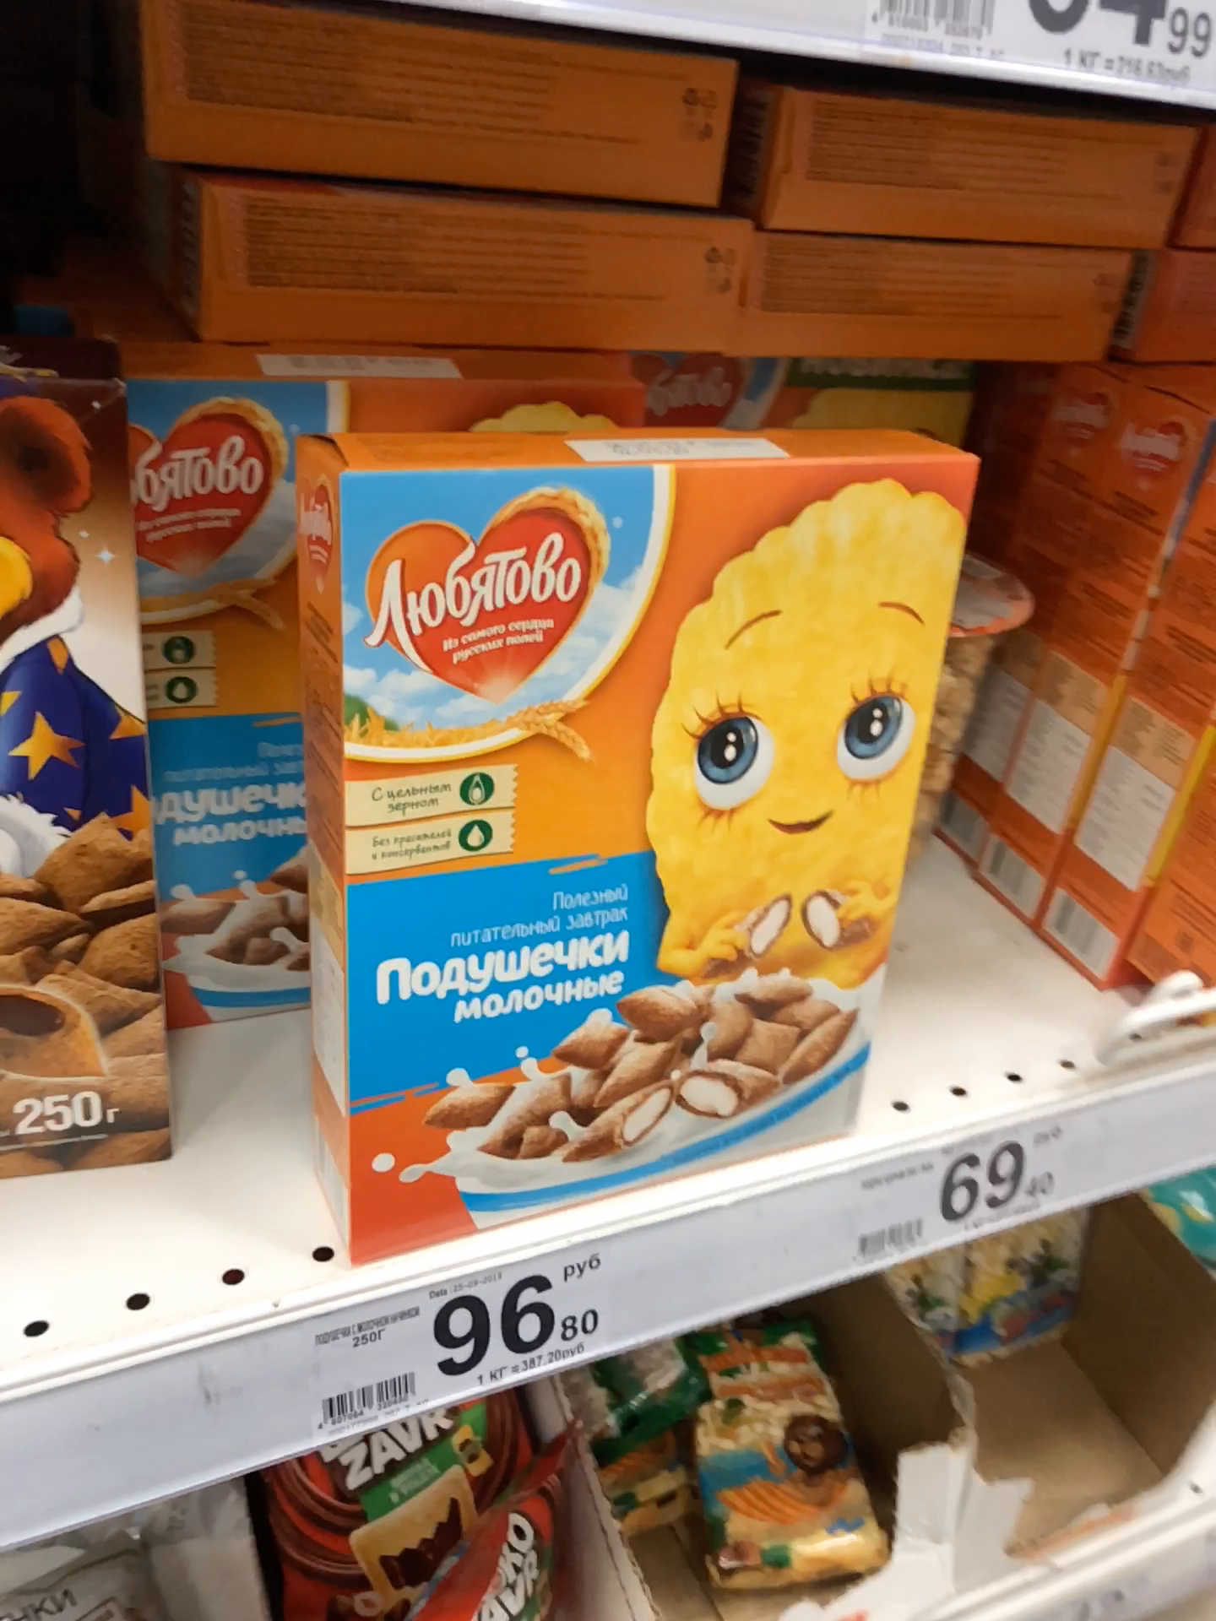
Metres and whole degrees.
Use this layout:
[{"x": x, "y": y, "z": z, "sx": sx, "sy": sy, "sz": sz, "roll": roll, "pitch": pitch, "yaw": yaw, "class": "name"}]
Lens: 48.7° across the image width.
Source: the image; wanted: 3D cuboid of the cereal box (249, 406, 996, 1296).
[{"x": -0.001, "y": 0.009, "z": 0.378, "sx": 0.180, "sy": 0.229, "sz": 0.050, "roll": -8, "pitch": 29, "yaw": -26, "class": "cereal box"}]
